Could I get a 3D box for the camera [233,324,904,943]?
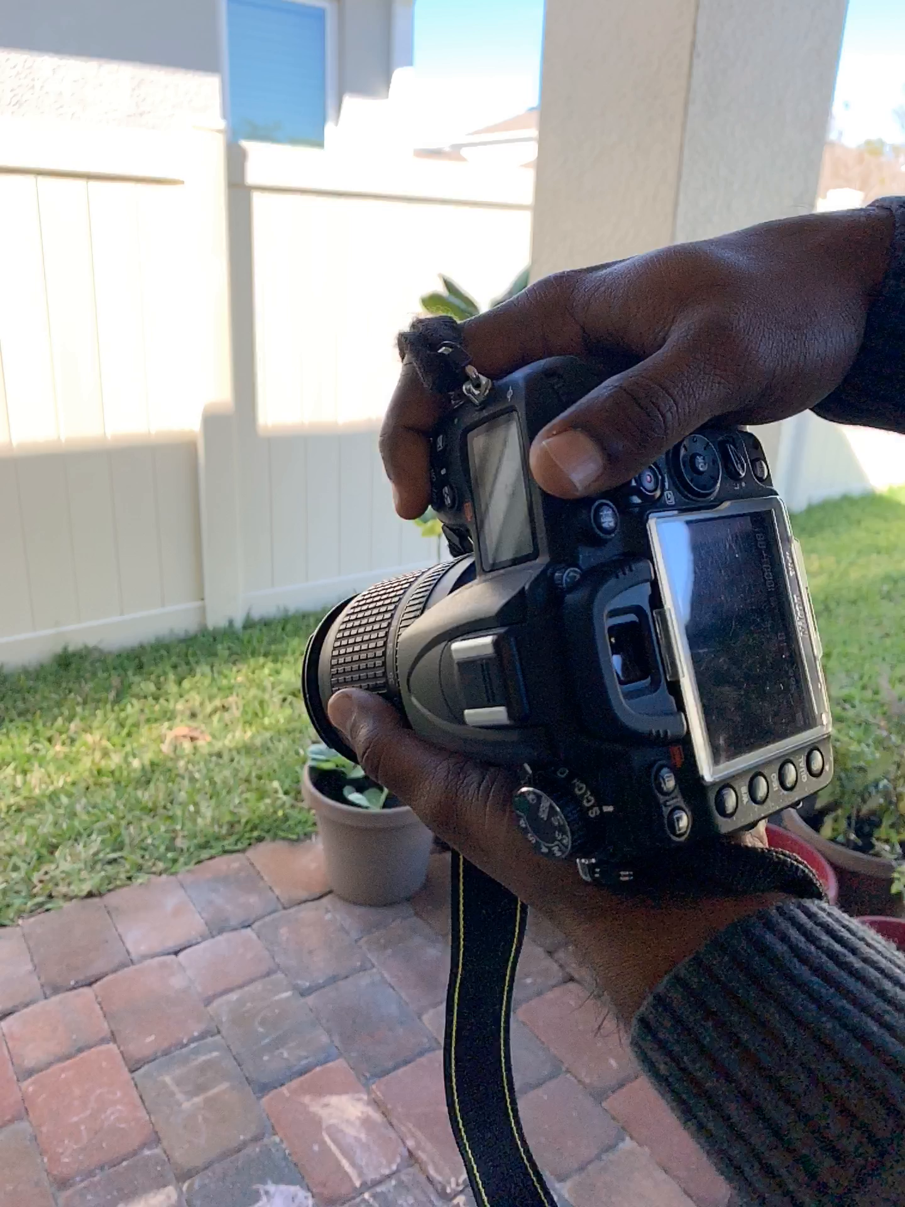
[{"bbox_3d":[0.026,0.003,0.259,0.090,0.110,0.170,-13,3,-36],"label":"camera"}]
